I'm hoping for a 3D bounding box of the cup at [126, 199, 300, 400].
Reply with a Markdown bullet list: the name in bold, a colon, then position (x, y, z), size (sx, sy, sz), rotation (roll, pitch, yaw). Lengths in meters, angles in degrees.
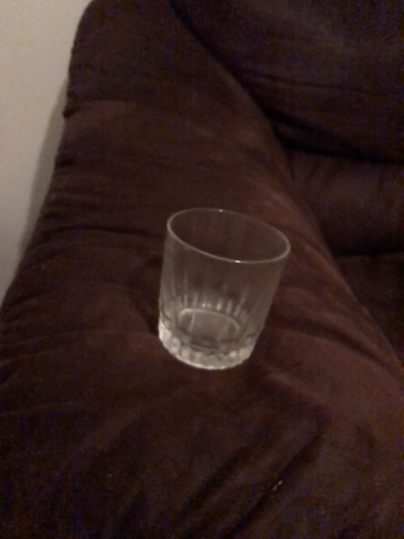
- **cup**: position (0.010, 0.014, 0.304), size (0.086, 0.086, 0.087), rotation (8, 25, -4)
